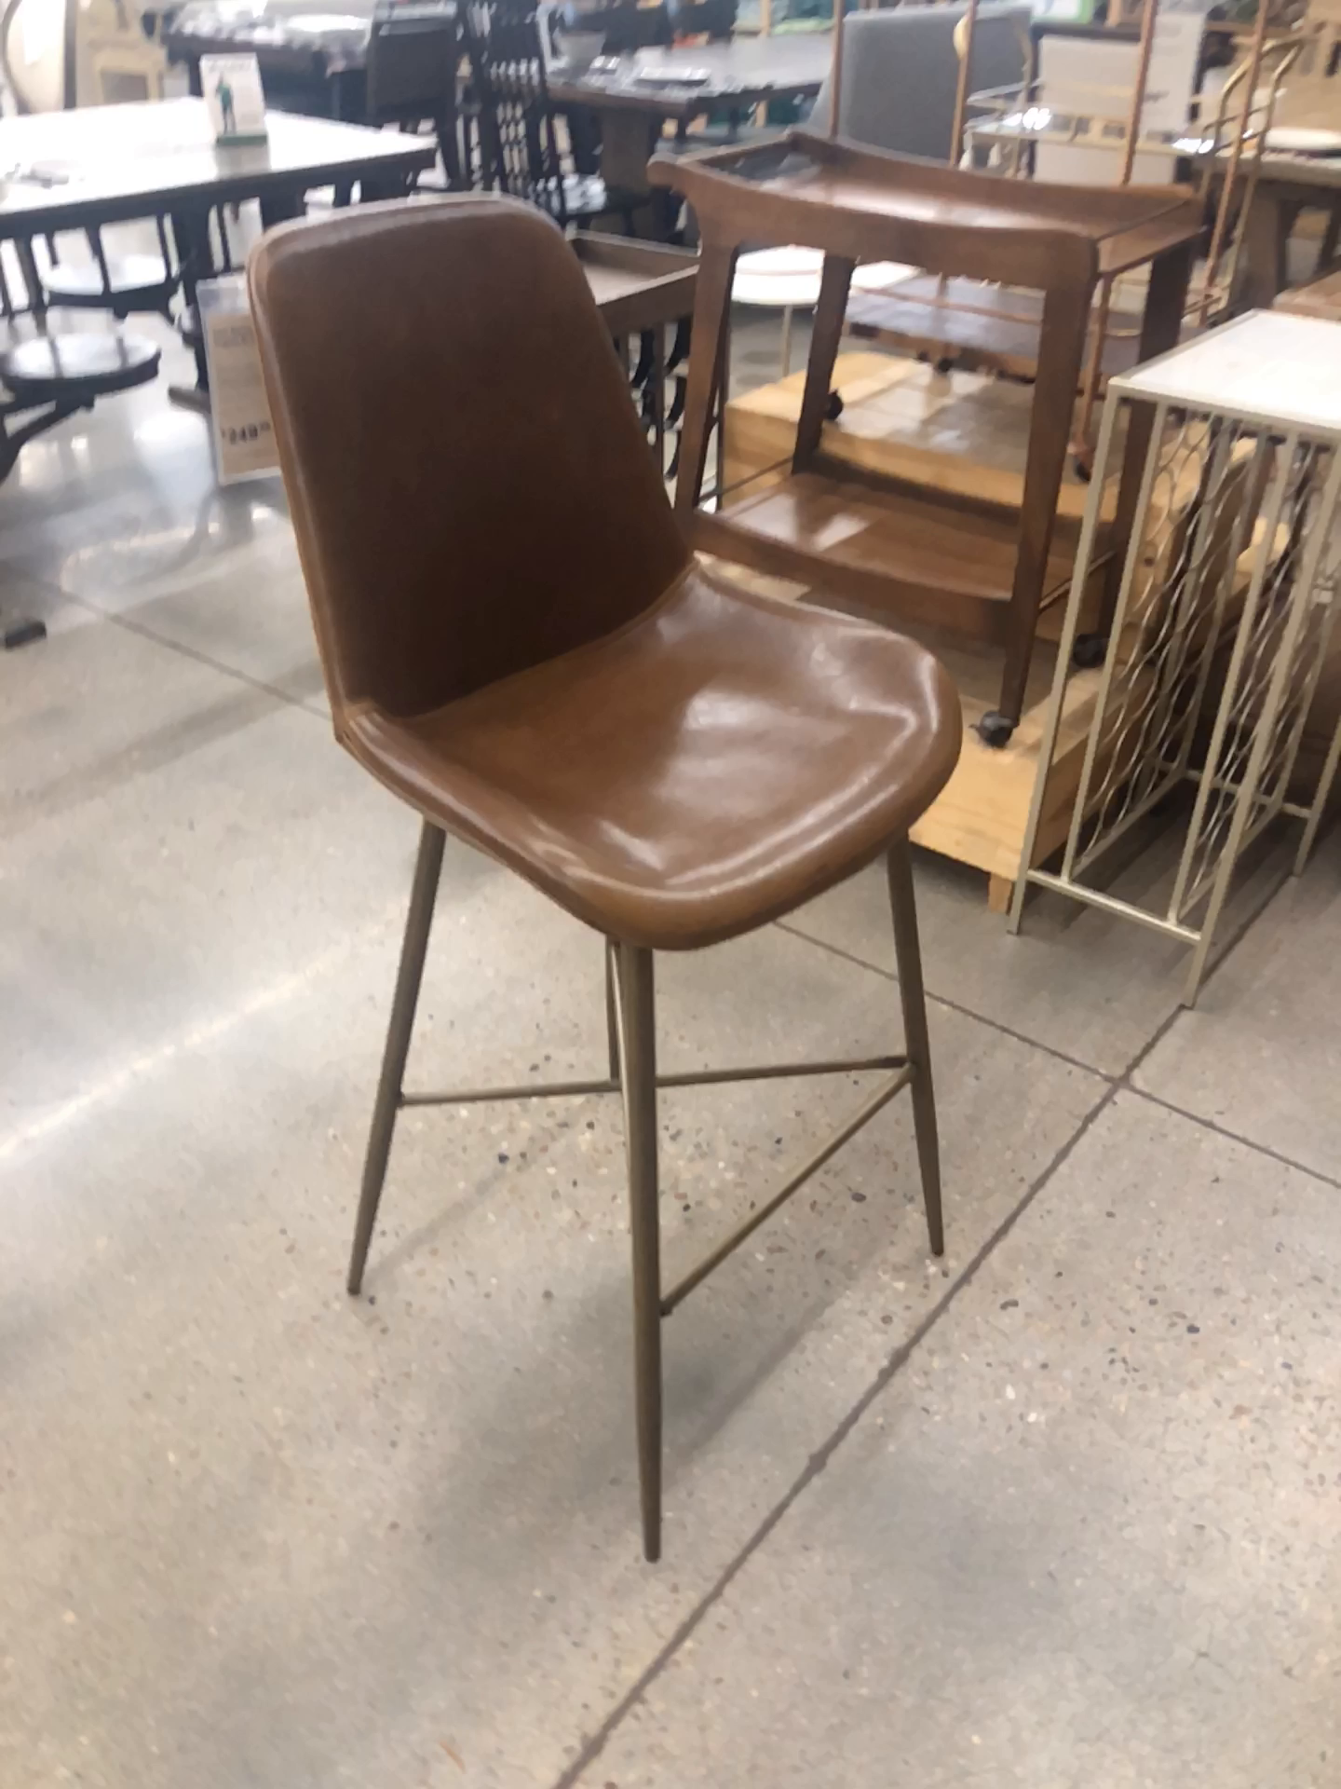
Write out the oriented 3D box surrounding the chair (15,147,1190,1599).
[{"bbox_3d":[-0.046,-0.043,1.370,0.612,1.054,0.604,27,42,31],"label":"chair"}]
